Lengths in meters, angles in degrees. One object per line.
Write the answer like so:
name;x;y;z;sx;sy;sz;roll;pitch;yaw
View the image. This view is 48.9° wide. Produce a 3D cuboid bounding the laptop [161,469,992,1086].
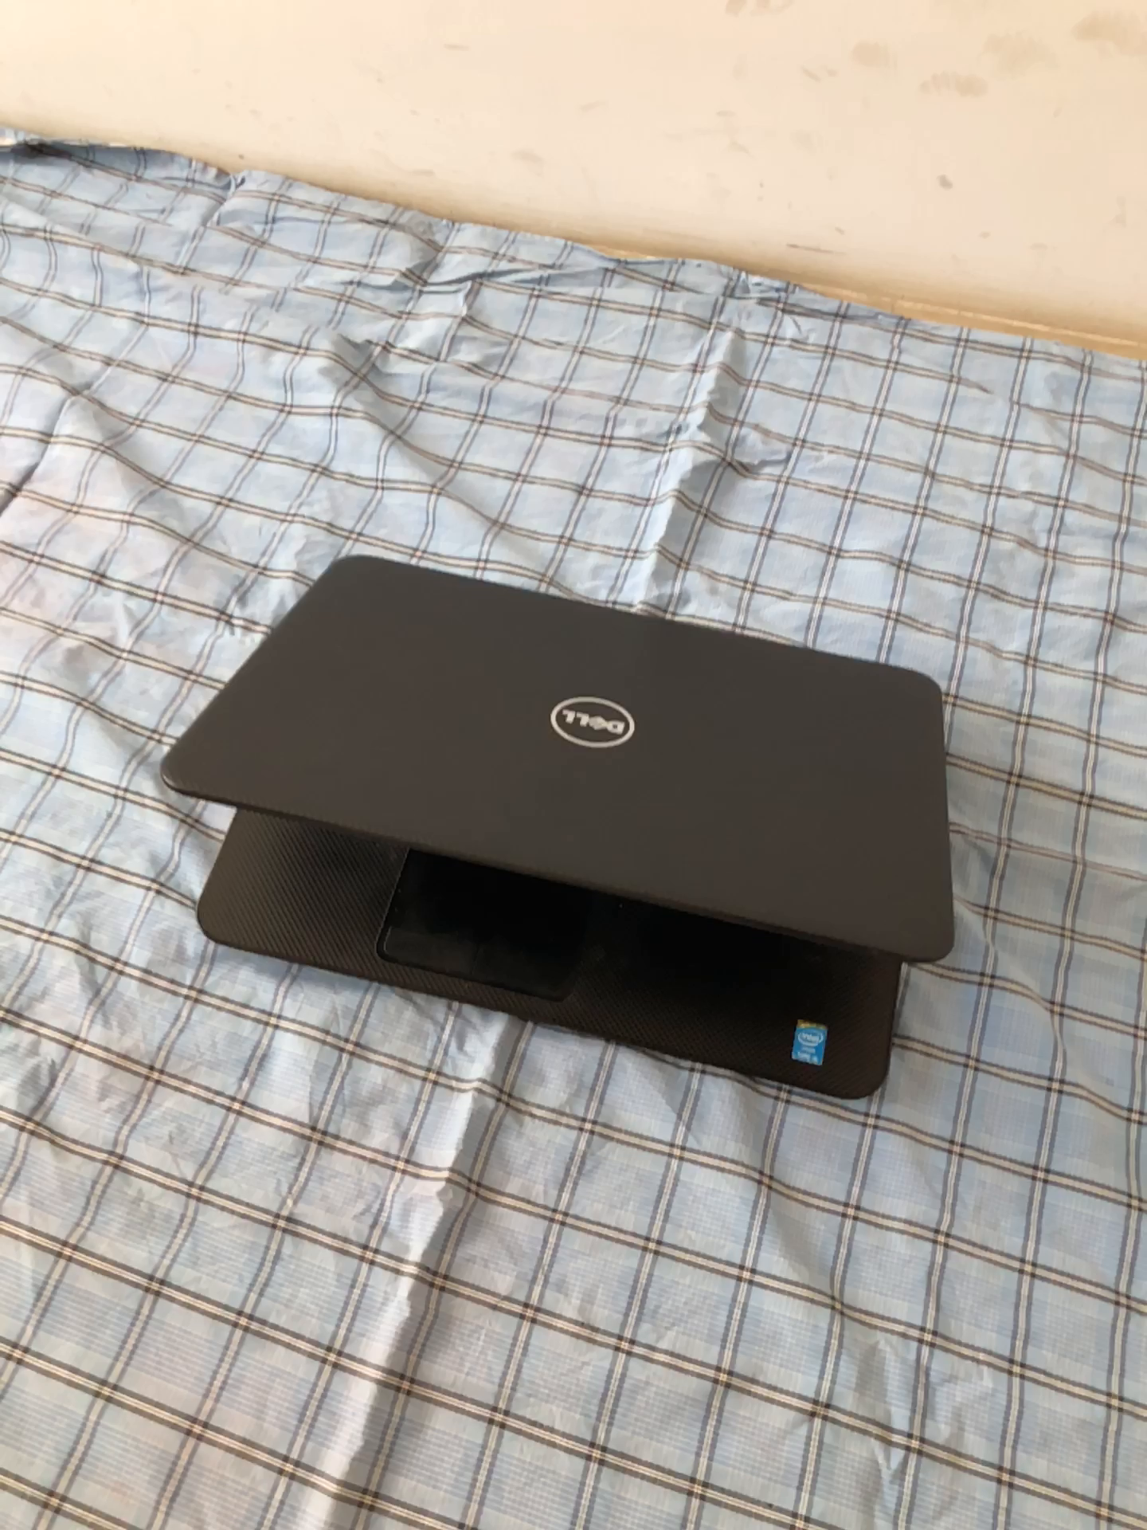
laptop;0.012;0.000;0.647;0.350;0.099;0.224;13;62;5
